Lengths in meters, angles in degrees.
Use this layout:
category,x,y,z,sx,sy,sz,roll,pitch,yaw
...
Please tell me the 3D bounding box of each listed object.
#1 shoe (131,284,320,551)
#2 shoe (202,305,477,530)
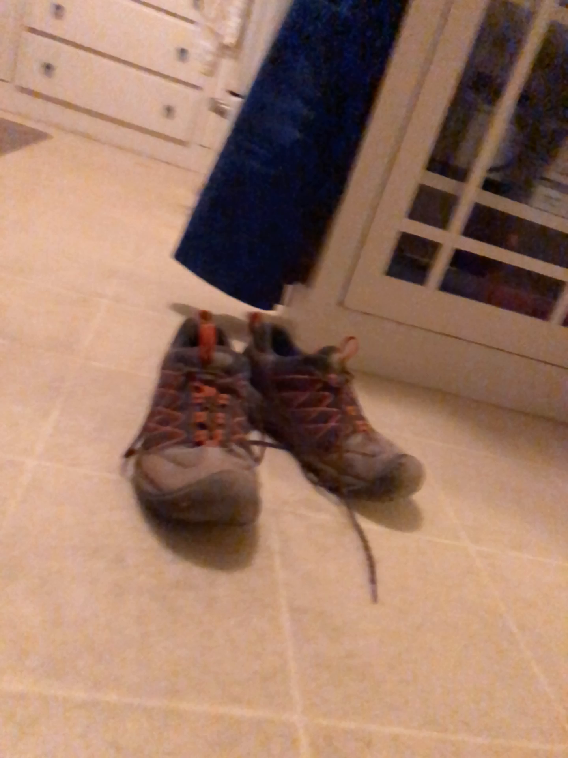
category,x,y,z,sx,sy,sz,roll,pitch,yaw
shoe,-0.073,0.021,0.638,0.127,0.121,0.293,13,23,-17
shoe,0.057,0.028,0.741,0.282,0.121,0.128,33,26,30
